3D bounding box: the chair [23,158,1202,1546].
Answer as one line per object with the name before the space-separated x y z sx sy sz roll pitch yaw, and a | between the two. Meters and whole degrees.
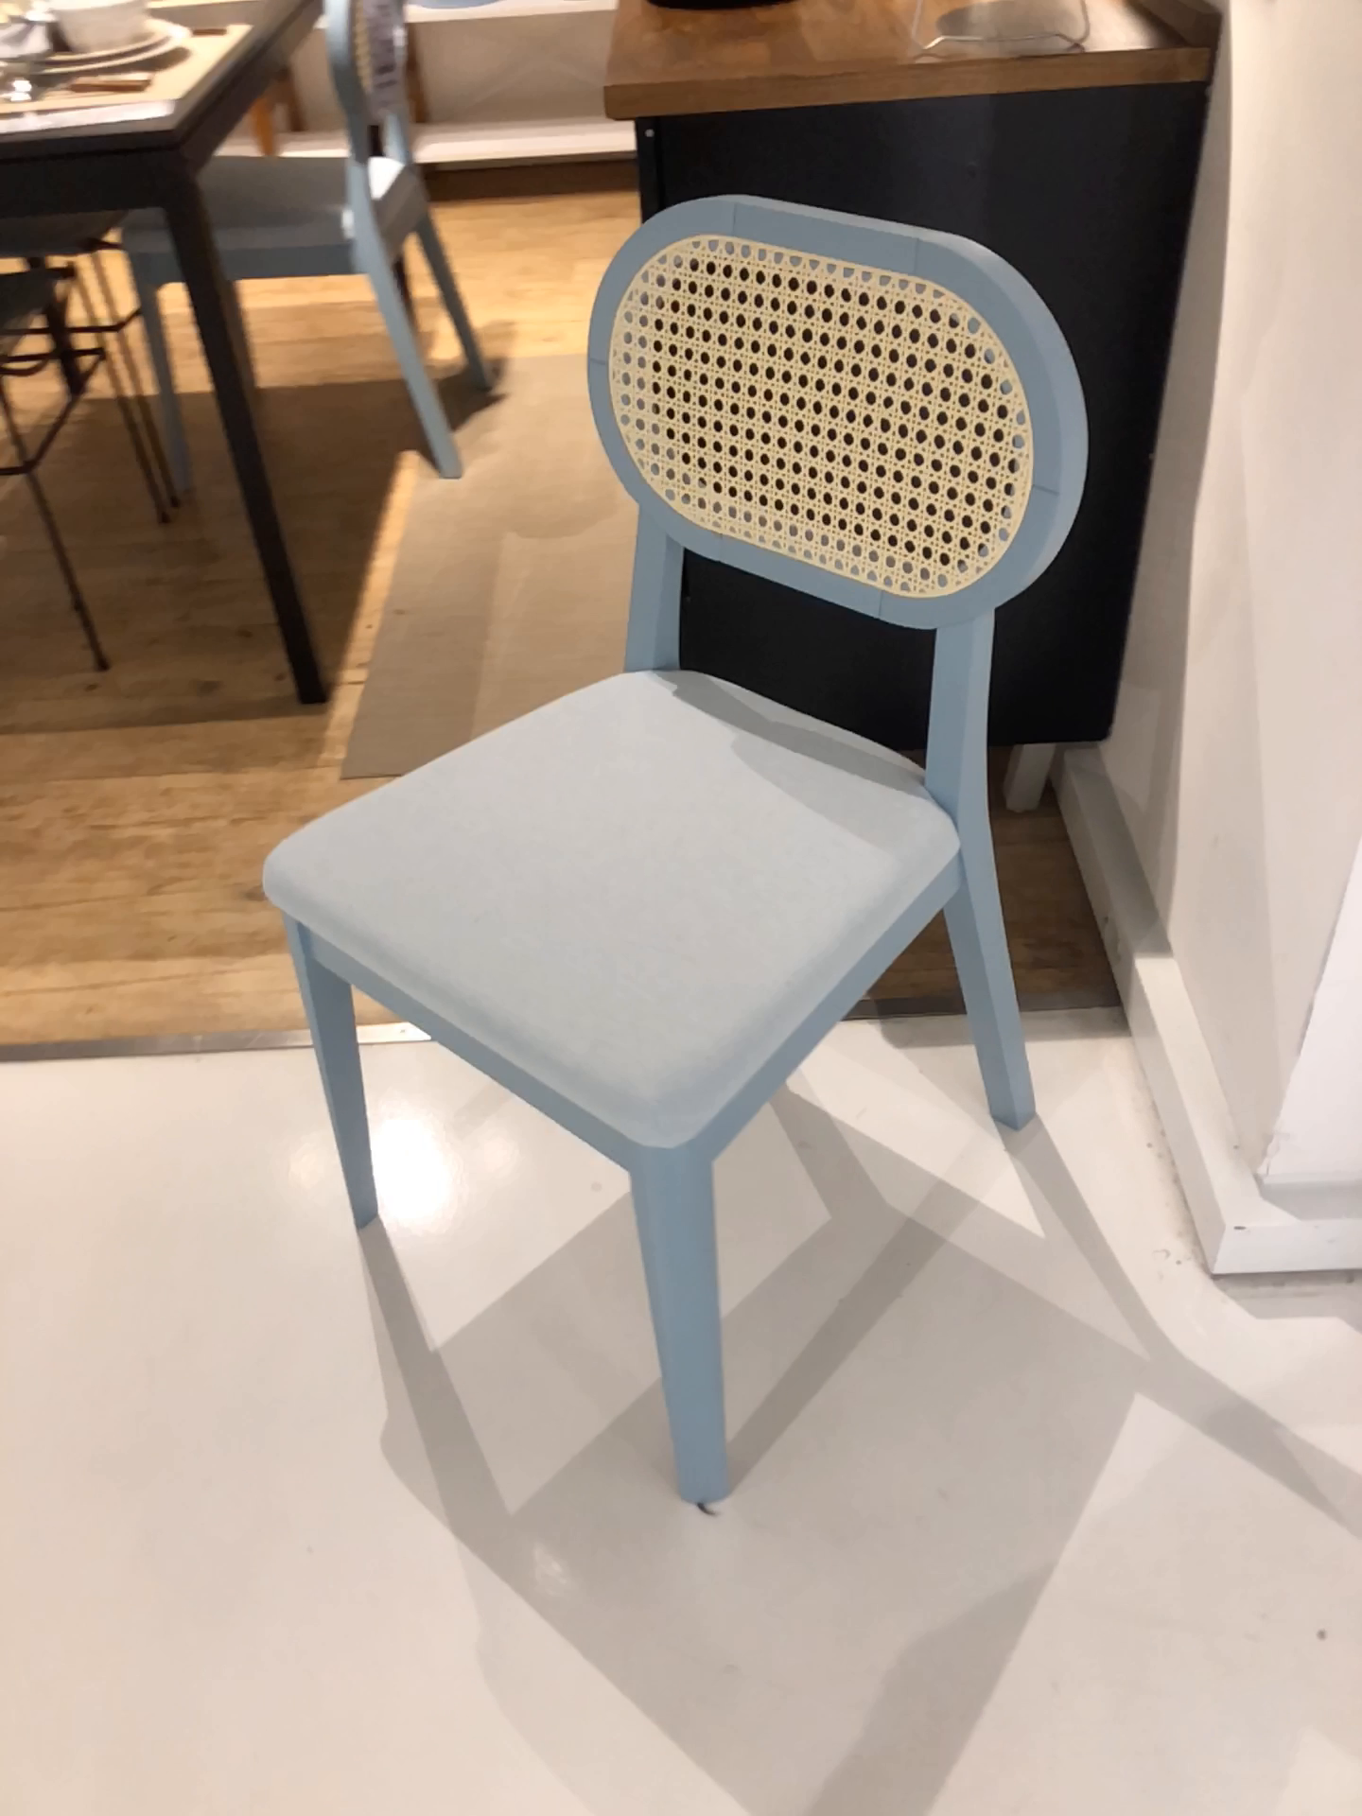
chair | -0.009 -0.052 1.196 0.482 0.824 0.562 29 51 33
